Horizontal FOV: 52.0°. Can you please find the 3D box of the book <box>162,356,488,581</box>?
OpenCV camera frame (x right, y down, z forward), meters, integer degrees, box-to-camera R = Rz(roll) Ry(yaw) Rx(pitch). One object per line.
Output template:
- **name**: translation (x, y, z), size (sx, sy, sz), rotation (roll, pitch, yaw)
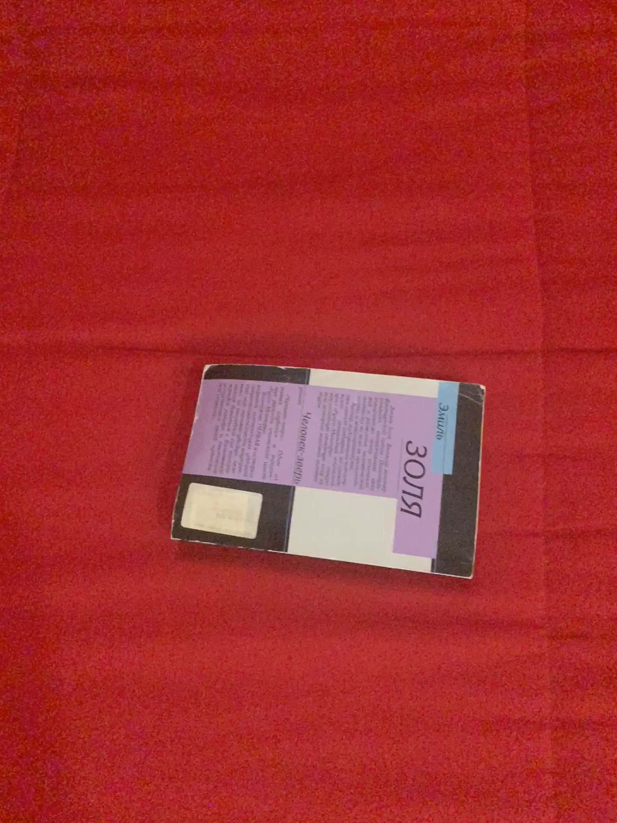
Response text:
- **book**: translation (0.011, 0.032, 0.370), size (0.171, 0.034, 0.109), rotation (6, 76, 7)
